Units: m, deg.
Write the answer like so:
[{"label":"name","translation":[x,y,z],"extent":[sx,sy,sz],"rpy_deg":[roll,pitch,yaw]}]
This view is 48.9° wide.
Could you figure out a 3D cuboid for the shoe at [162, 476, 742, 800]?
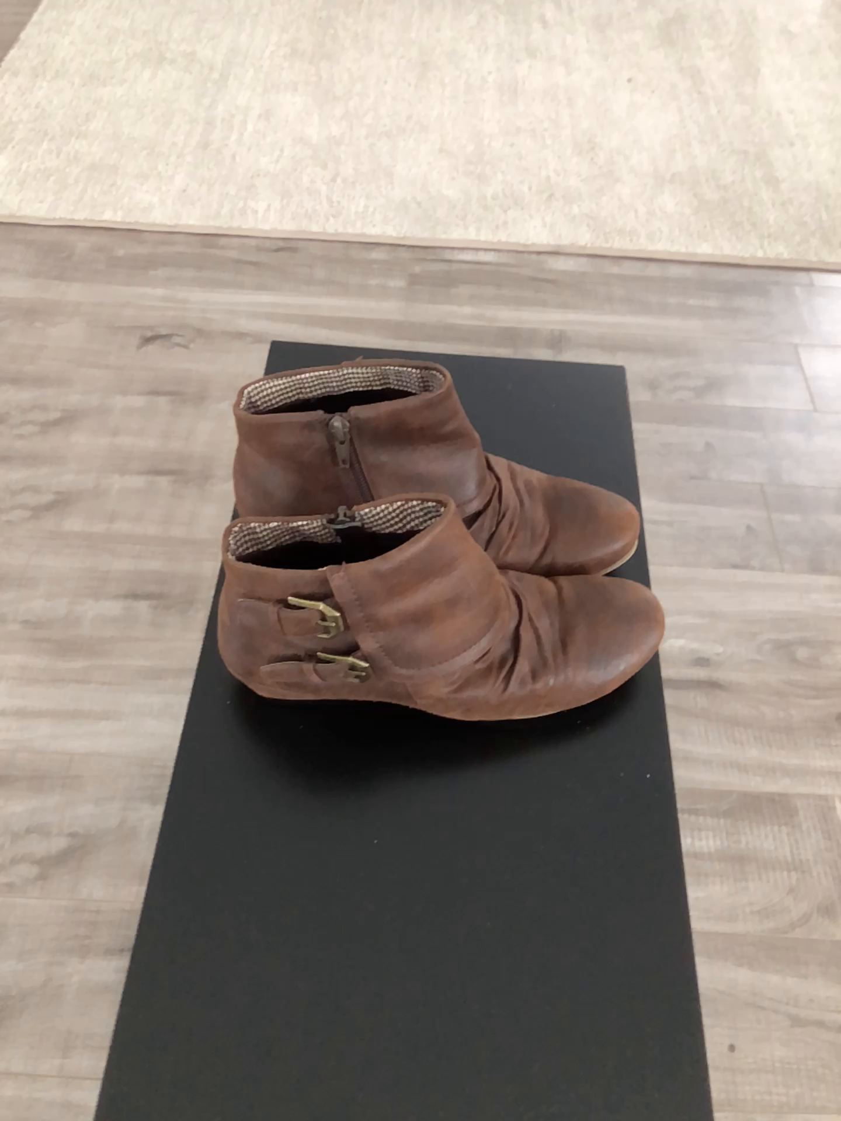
[{"label":"shoe","translation":[0.009,0.041,0.458],"extent":[0.240,0.130,0.090],"rpy_deg":[-3,53,-5]}]

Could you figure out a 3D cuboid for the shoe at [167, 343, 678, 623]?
[{"label":"shoe","translation":[0.000,-0.040,0.505],"extent":[0.240,0.110,0.090],"rpy_deg":[3,53,-1]}]
